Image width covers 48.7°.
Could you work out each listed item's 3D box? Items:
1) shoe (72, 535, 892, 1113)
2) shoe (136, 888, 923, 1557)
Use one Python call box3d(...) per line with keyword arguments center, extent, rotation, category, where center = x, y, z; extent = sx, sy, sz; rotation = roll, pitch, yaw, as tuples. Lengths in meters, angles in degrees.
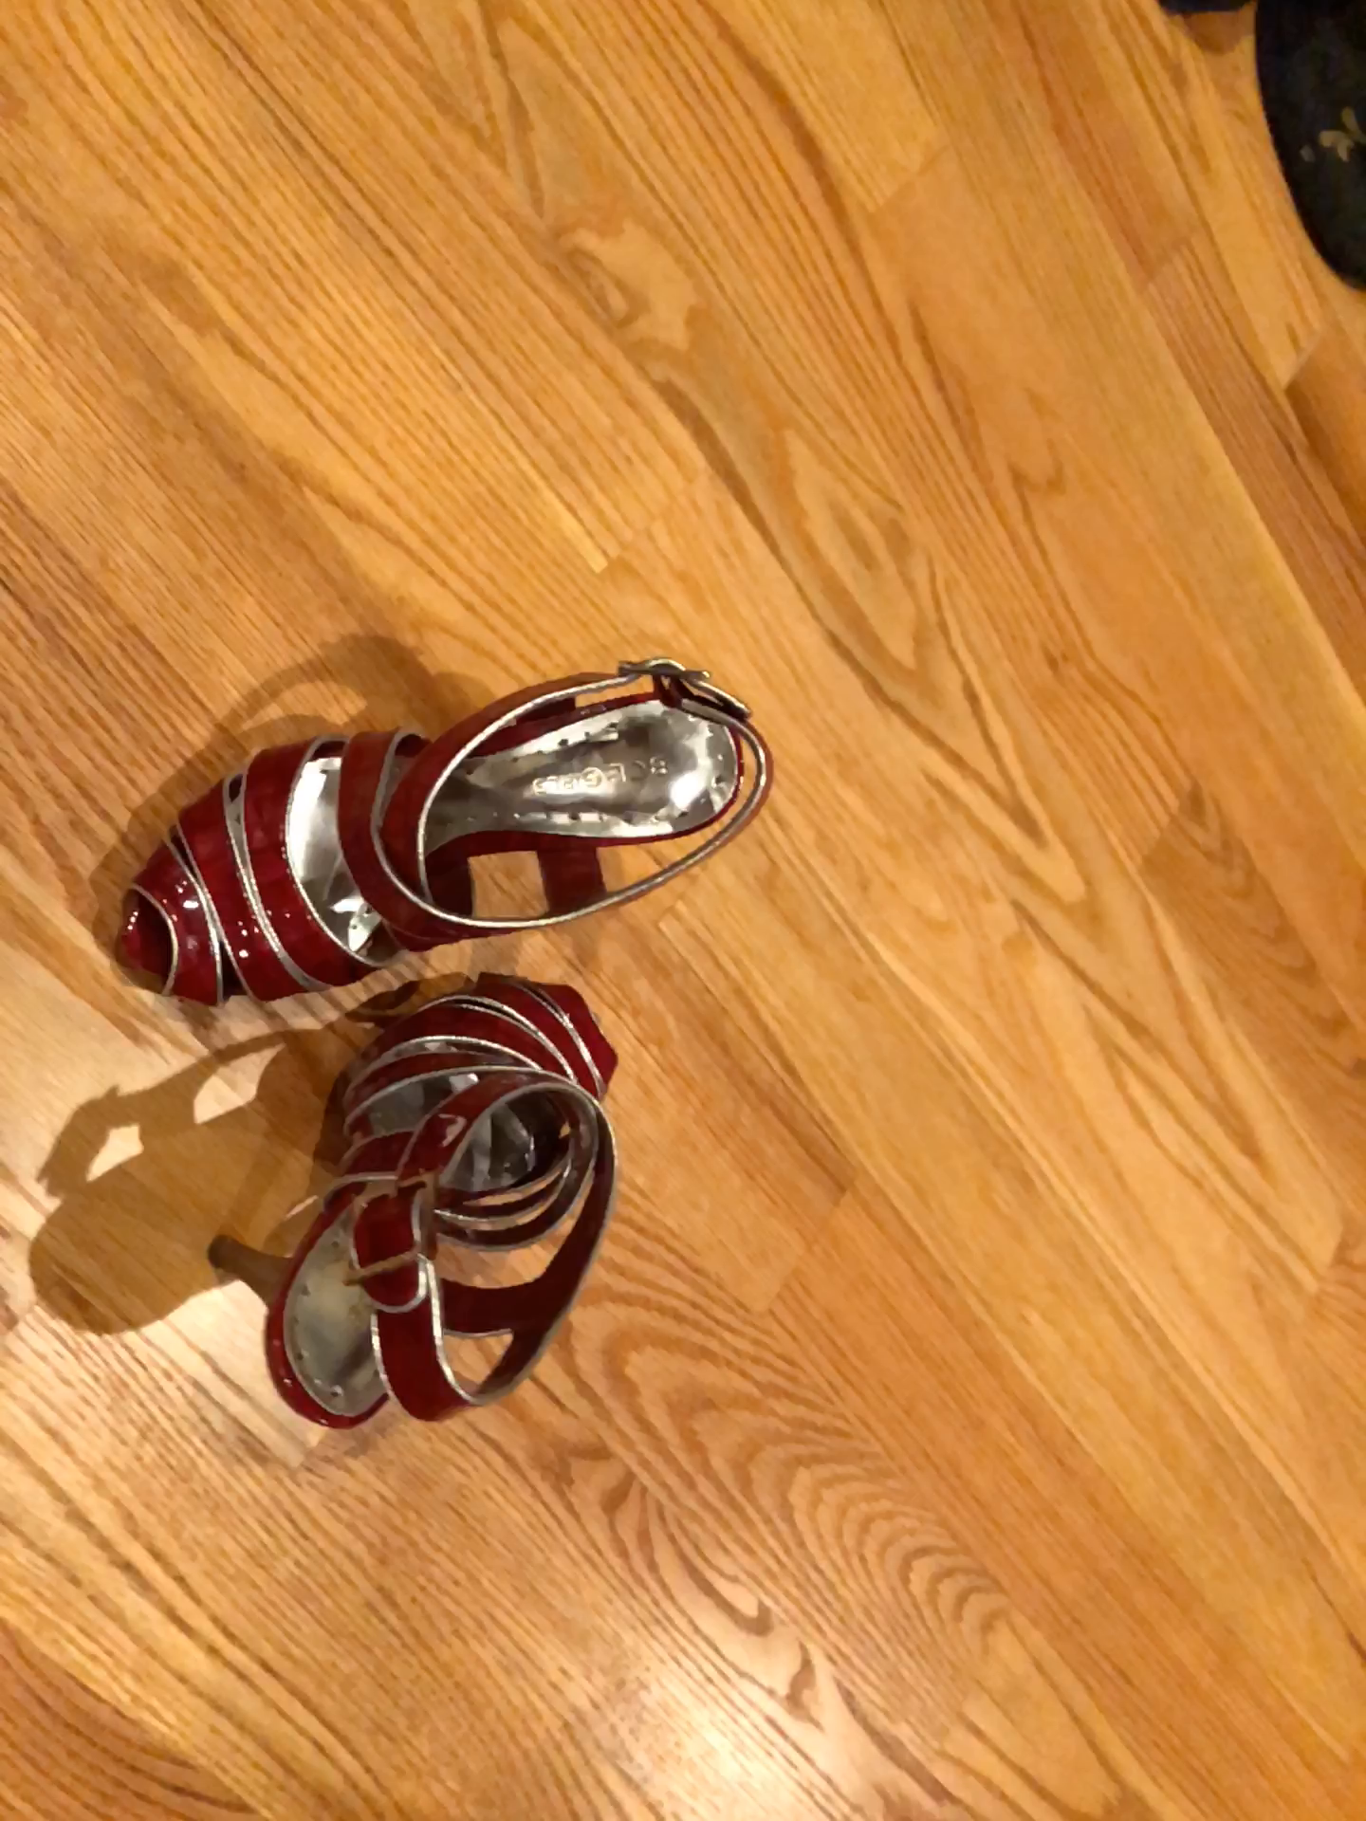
box3d(center=(-0.064, -0.028, 0.490), extent=(0.199, 0.151, 0.091), rotation=(-32, 105, -34), category="shoe")
box3d(center=(-0.048, 0.086, 0.491), extent=(0.194, 0.141, 0.091), rotation=(-36, 107, -33), category="shoe")
